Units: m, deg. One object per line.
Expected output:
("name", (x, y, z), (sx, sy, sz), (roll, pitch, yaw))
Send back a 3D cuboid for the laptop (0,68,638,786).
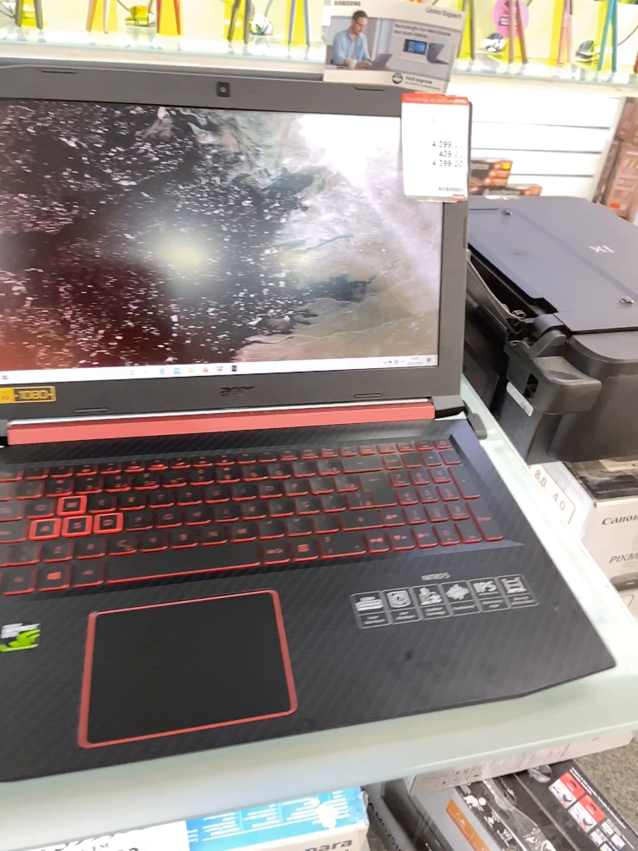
("laptop", (-0.044, -0.052, 0.408), (0.388, 0.218, 0.362), (-4, 39, -12))
